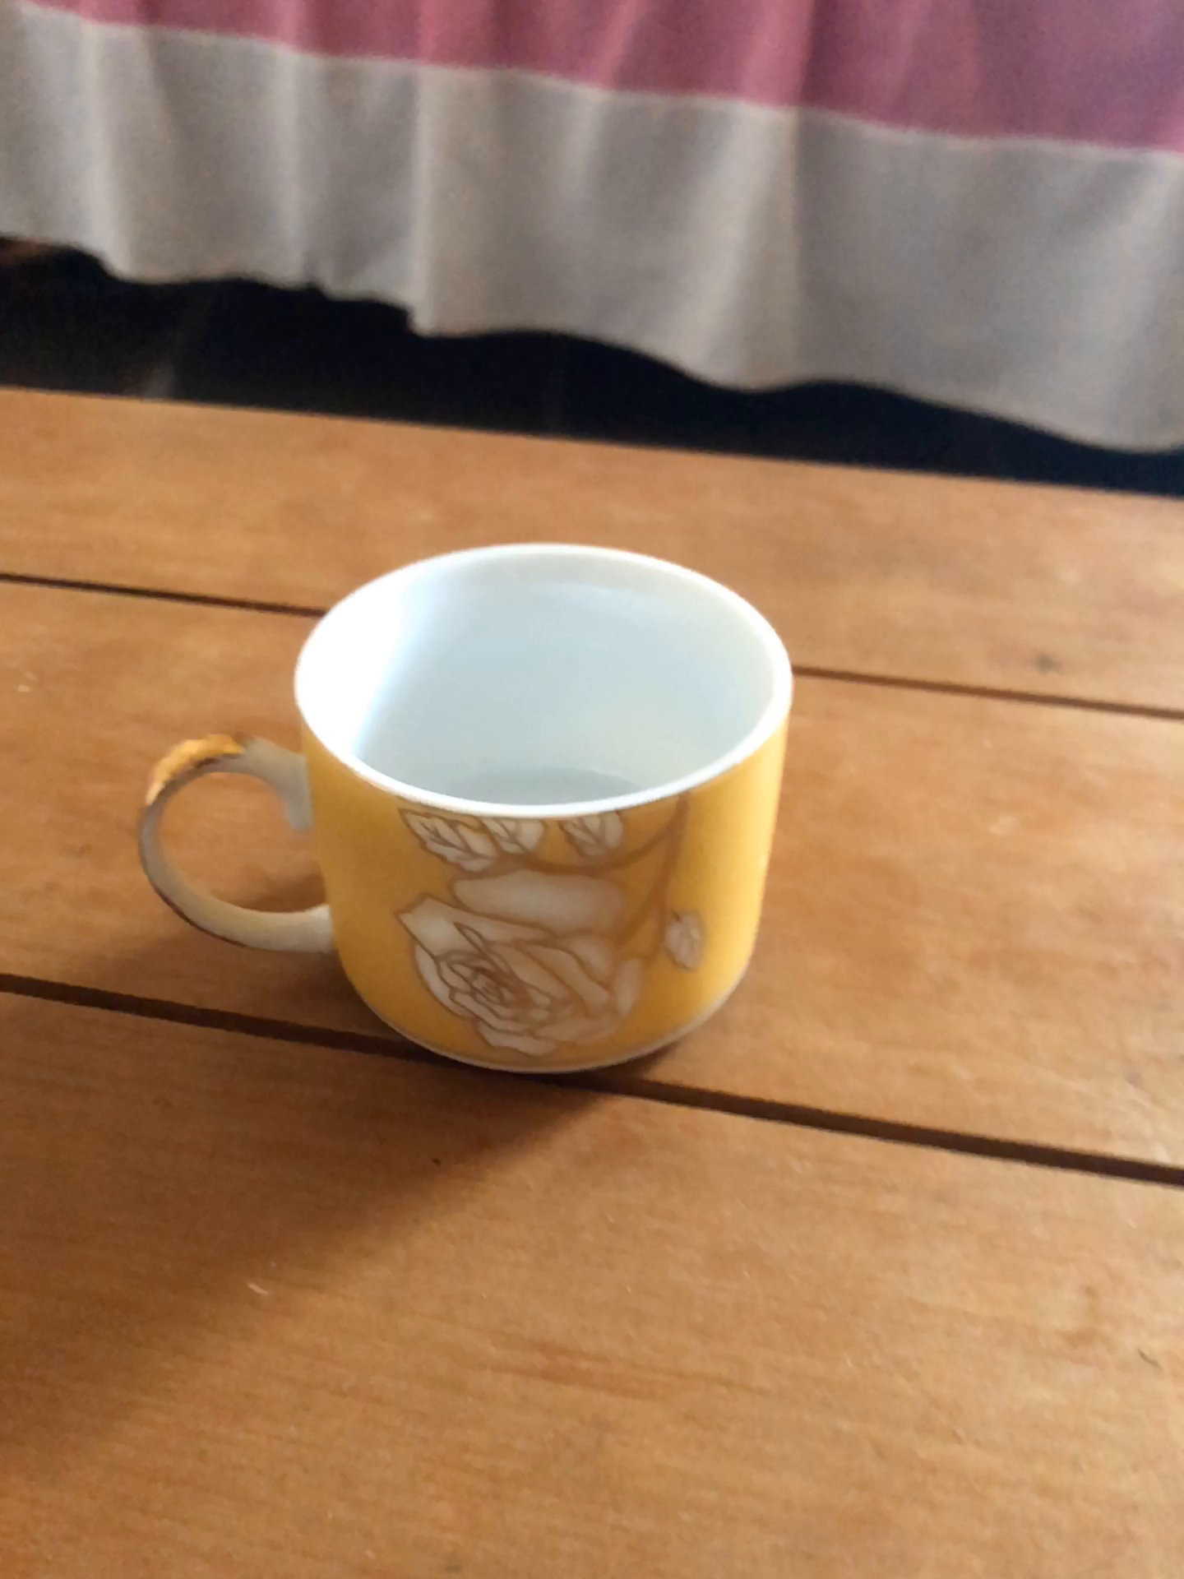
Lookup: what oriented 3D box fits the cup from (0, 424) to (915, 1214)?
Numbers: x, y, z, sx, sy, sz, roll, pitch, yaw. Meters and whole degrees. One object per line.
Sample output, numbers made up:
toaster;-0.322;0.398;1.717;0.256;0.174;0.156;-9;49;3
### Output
cup;-0.021;-0.003;0.165;0.090;0.050;0.070;-10;40;-14
